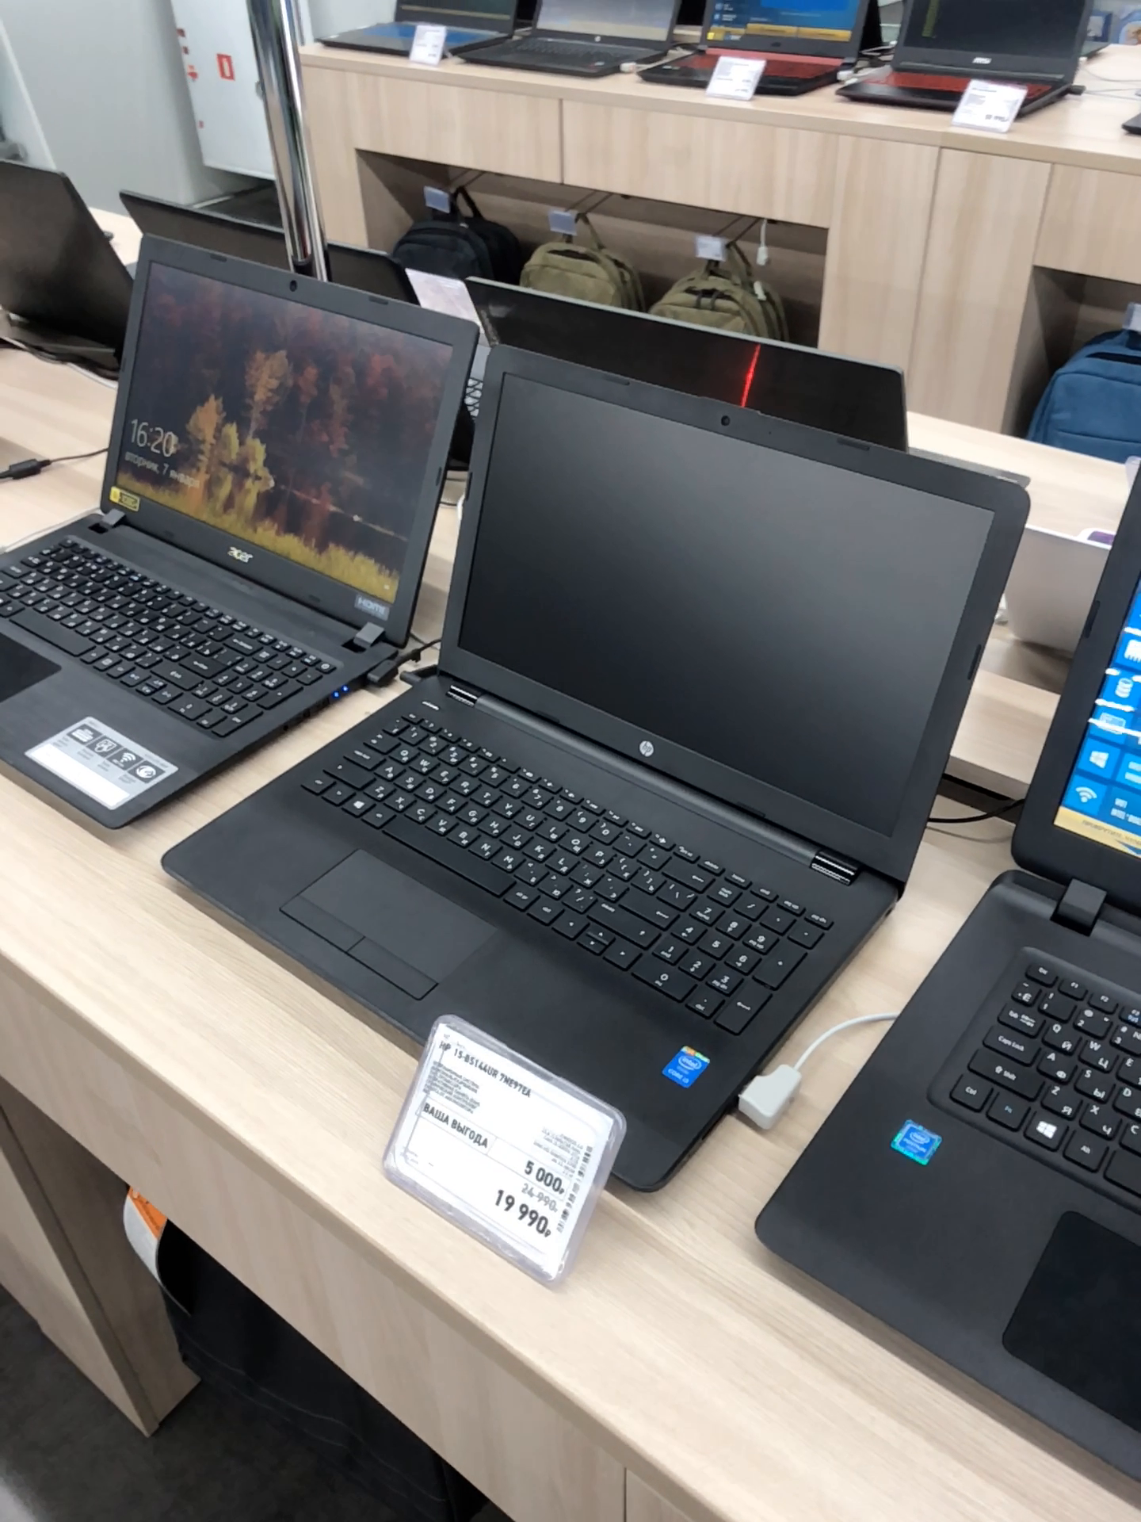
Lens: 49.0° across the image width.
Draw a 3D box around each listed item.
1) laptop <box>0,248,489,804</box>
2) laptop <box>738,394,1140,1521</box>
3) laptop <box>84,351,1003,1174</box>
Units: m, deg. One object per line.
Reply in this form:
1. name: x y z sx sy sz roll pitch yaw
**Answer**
1. laptop: -0.335 -0.205 0.955 0.359 0.226 0.351 25 45 29
2. laptop: 0.358 0.077 0.509 0.397 0.267 0.396 25 45 32
3. laptop: -0.010 -0.043 0.736 0.377 0.215 0.335 24 46 31
